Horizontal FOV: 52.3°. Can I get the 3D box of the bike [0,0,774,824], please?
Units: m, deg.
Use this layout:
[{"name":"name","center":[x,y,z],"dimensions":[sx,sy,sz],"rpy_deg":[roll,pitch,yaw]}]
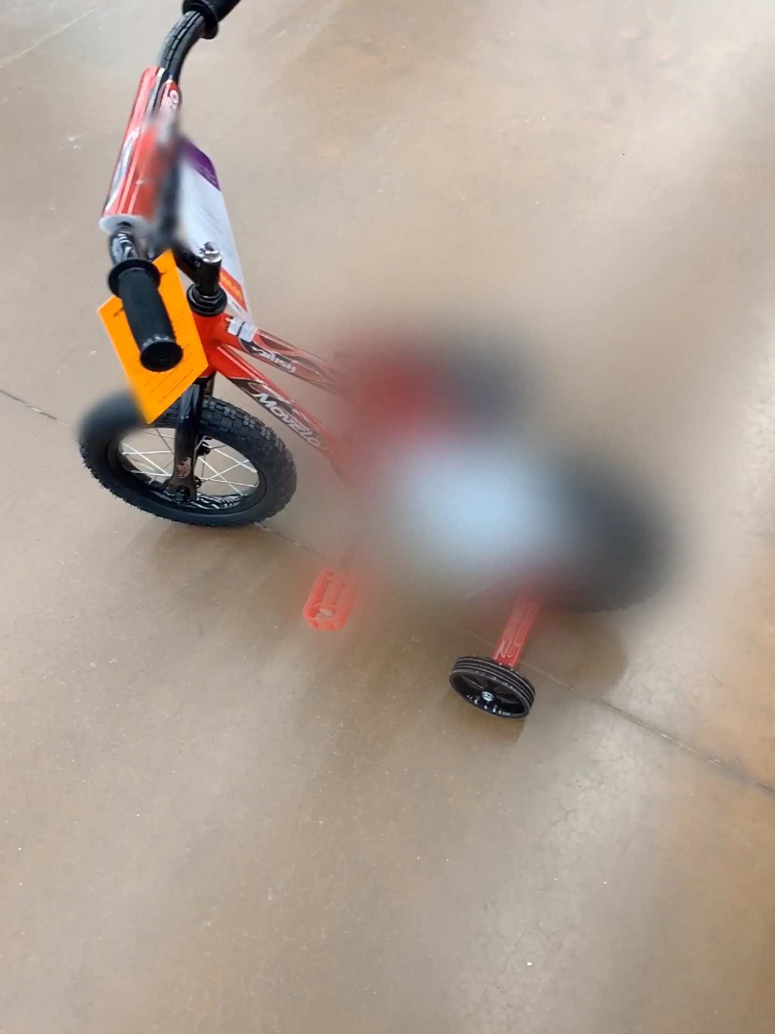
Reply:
[{"name":"bike","center":[-0.051,-0.106,0.746],"dimensions":[0.704,0.627,0.458],"rpy_deg":[12,56,8]}]
